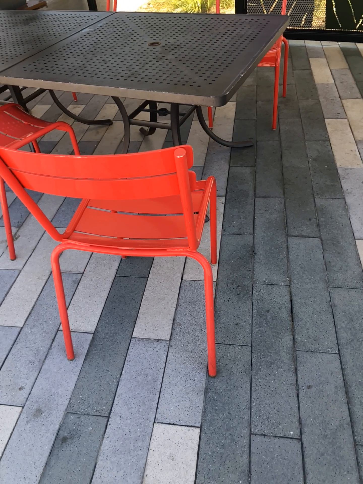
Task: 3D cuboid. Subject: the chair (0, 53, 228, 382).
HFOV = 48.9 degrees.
[{"bbox_3d":[-0.166,-0.062,1.441,0.610,0.955,0.633,2,42,10],"label":"chair"}]
